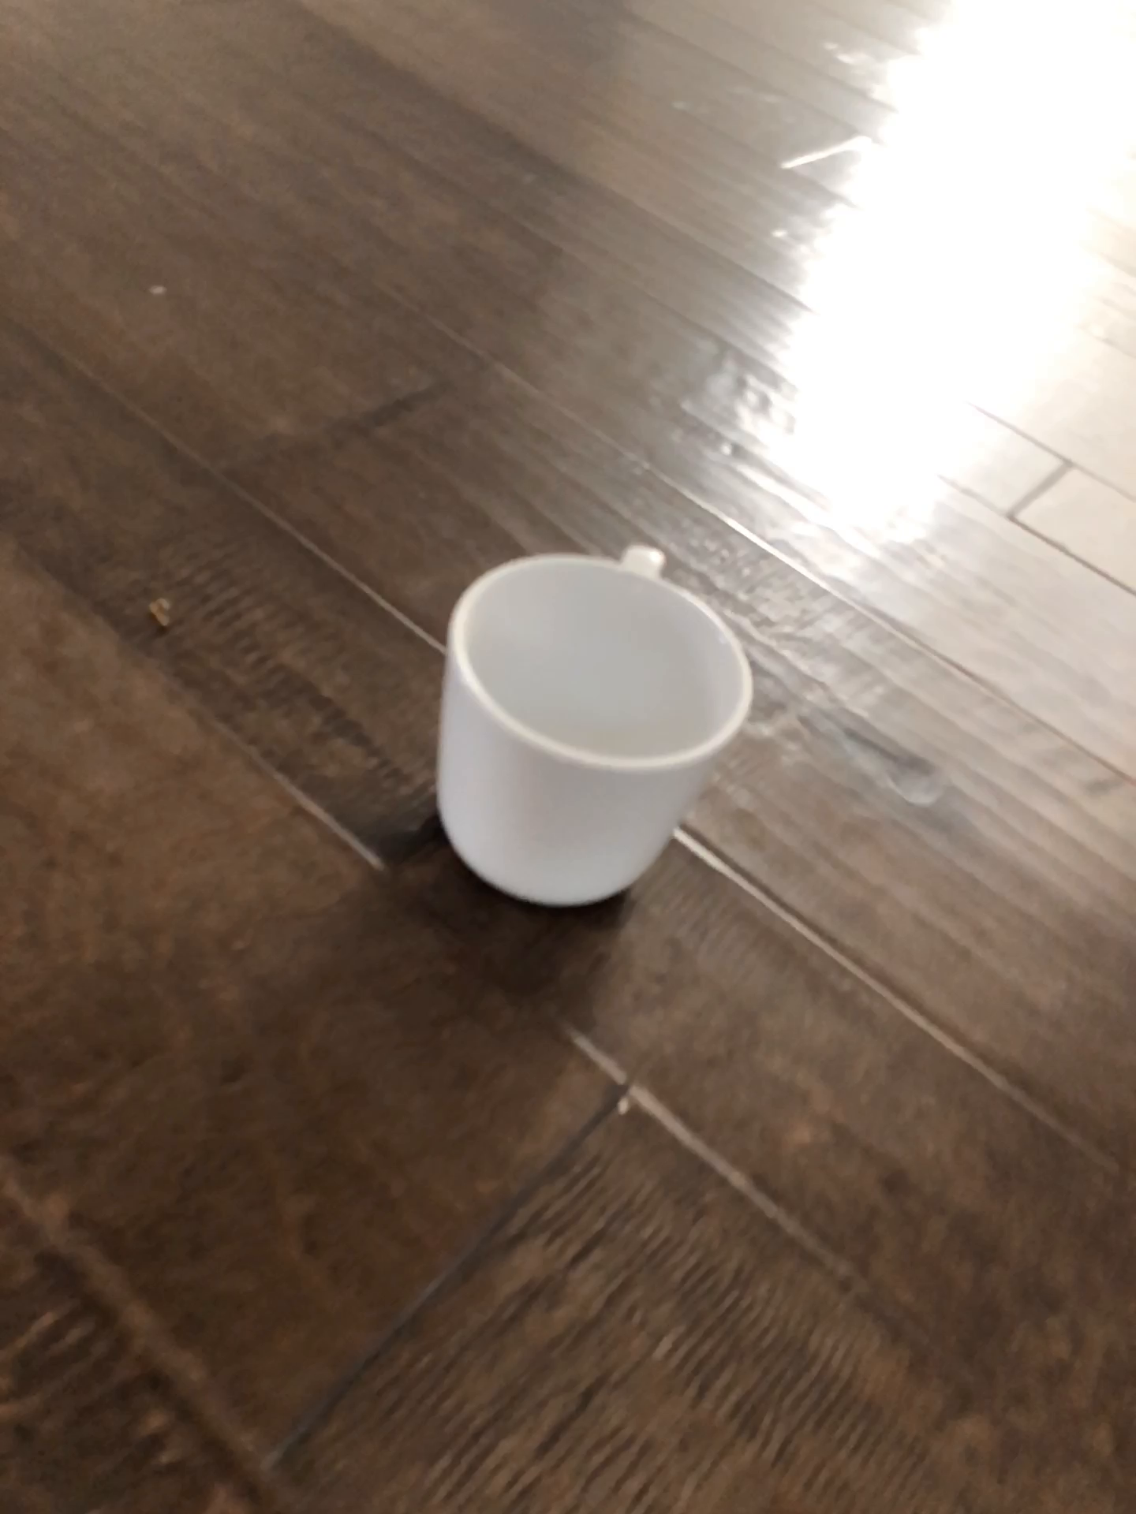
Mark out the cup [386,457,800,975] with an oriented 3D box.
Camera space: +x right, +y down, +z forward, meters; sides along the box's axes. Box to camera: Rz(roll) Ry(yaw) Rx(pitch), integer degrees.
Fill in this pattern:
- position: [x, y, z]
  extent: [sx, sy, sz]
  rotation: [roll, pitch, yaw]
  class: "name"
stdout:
- position: [0.010, -0.014, 0.372]
  extent: [0.090, 0.079, 0.111]
  rotation: [17, 44, -2]
  class: "cup"
